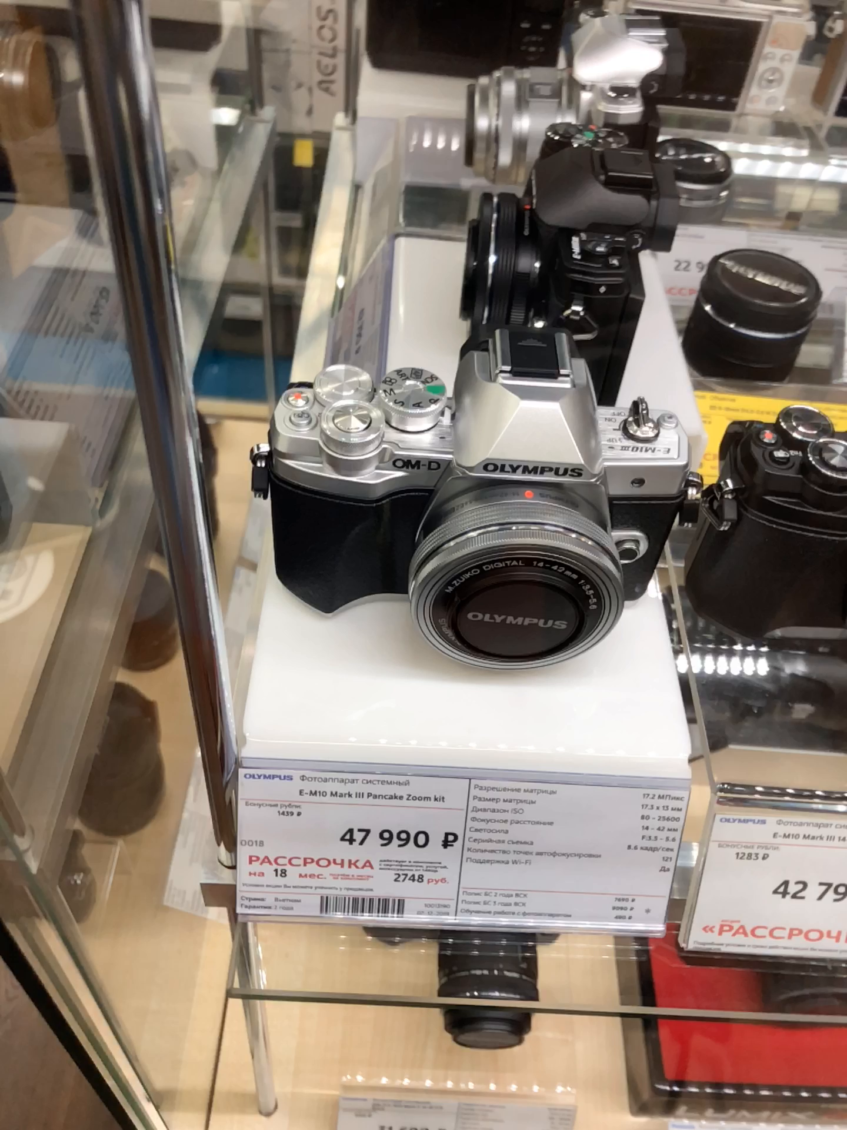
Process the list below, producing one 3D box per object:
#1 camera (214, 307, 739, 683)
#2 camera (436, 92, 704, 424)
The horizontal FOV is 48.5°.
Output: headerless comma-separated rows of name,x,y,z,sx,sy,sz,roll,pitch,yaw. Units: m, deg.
camera,0.010,-0.019,0.266,0.122,0.067,0.073,3,47,-4
camera,0.048,-0.118,0.356,0.078,0.068,0.109,5,47,-2
